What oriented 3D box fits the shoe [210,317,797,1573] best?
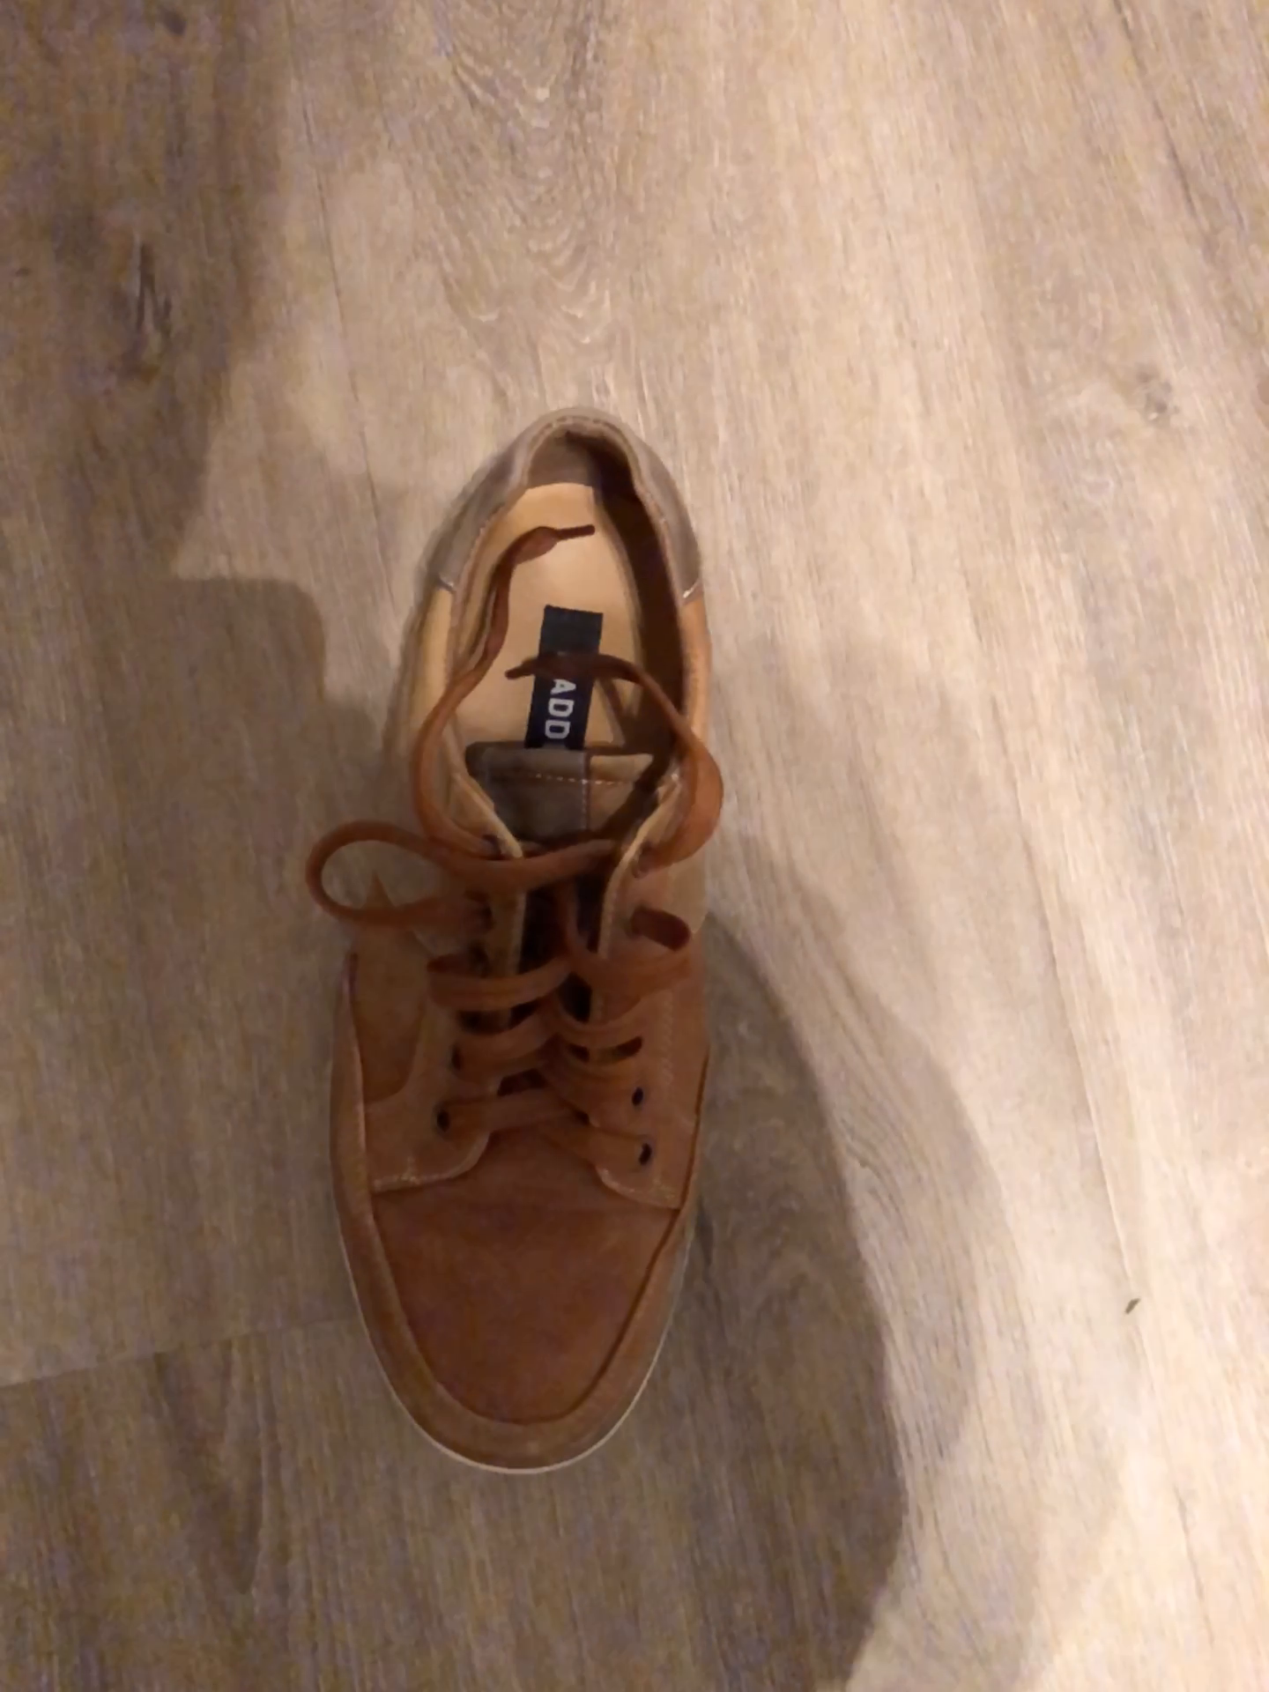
[{"bbox_3d":[-0.028,0.022,0.372,0.110,0.100,0.280,5,82,-2],"label":"shoe"}]
